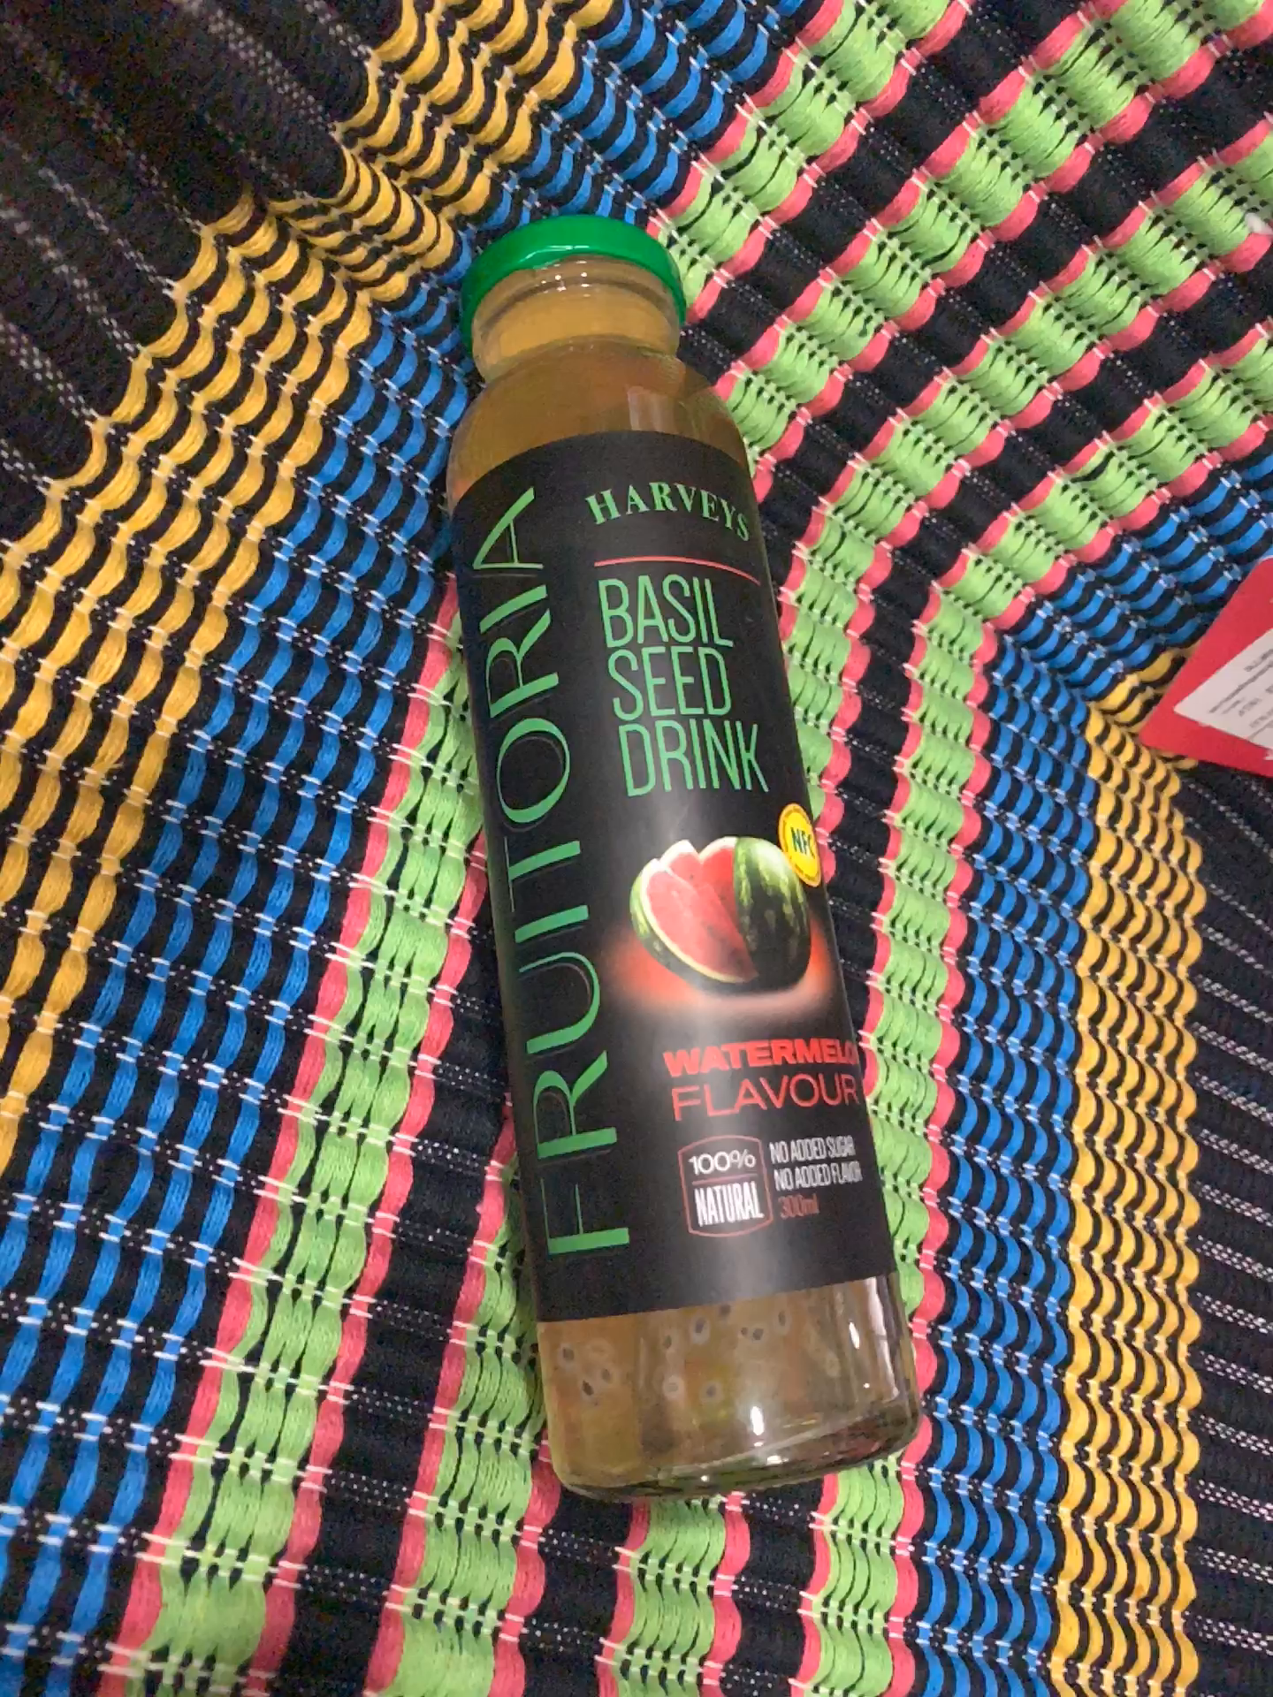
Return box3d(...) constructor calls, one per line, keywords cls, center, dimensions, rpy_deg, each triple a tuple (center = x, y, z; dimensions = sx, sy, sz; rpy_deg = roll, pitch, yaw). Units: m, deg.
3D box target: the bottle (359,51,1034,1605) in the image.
box3d(cls="bottle", center=(-0.002, -0.011, 0.198), dimensions=(0.060, 0.060, 0.200), rpy_deg=(-3, 75, -16))
